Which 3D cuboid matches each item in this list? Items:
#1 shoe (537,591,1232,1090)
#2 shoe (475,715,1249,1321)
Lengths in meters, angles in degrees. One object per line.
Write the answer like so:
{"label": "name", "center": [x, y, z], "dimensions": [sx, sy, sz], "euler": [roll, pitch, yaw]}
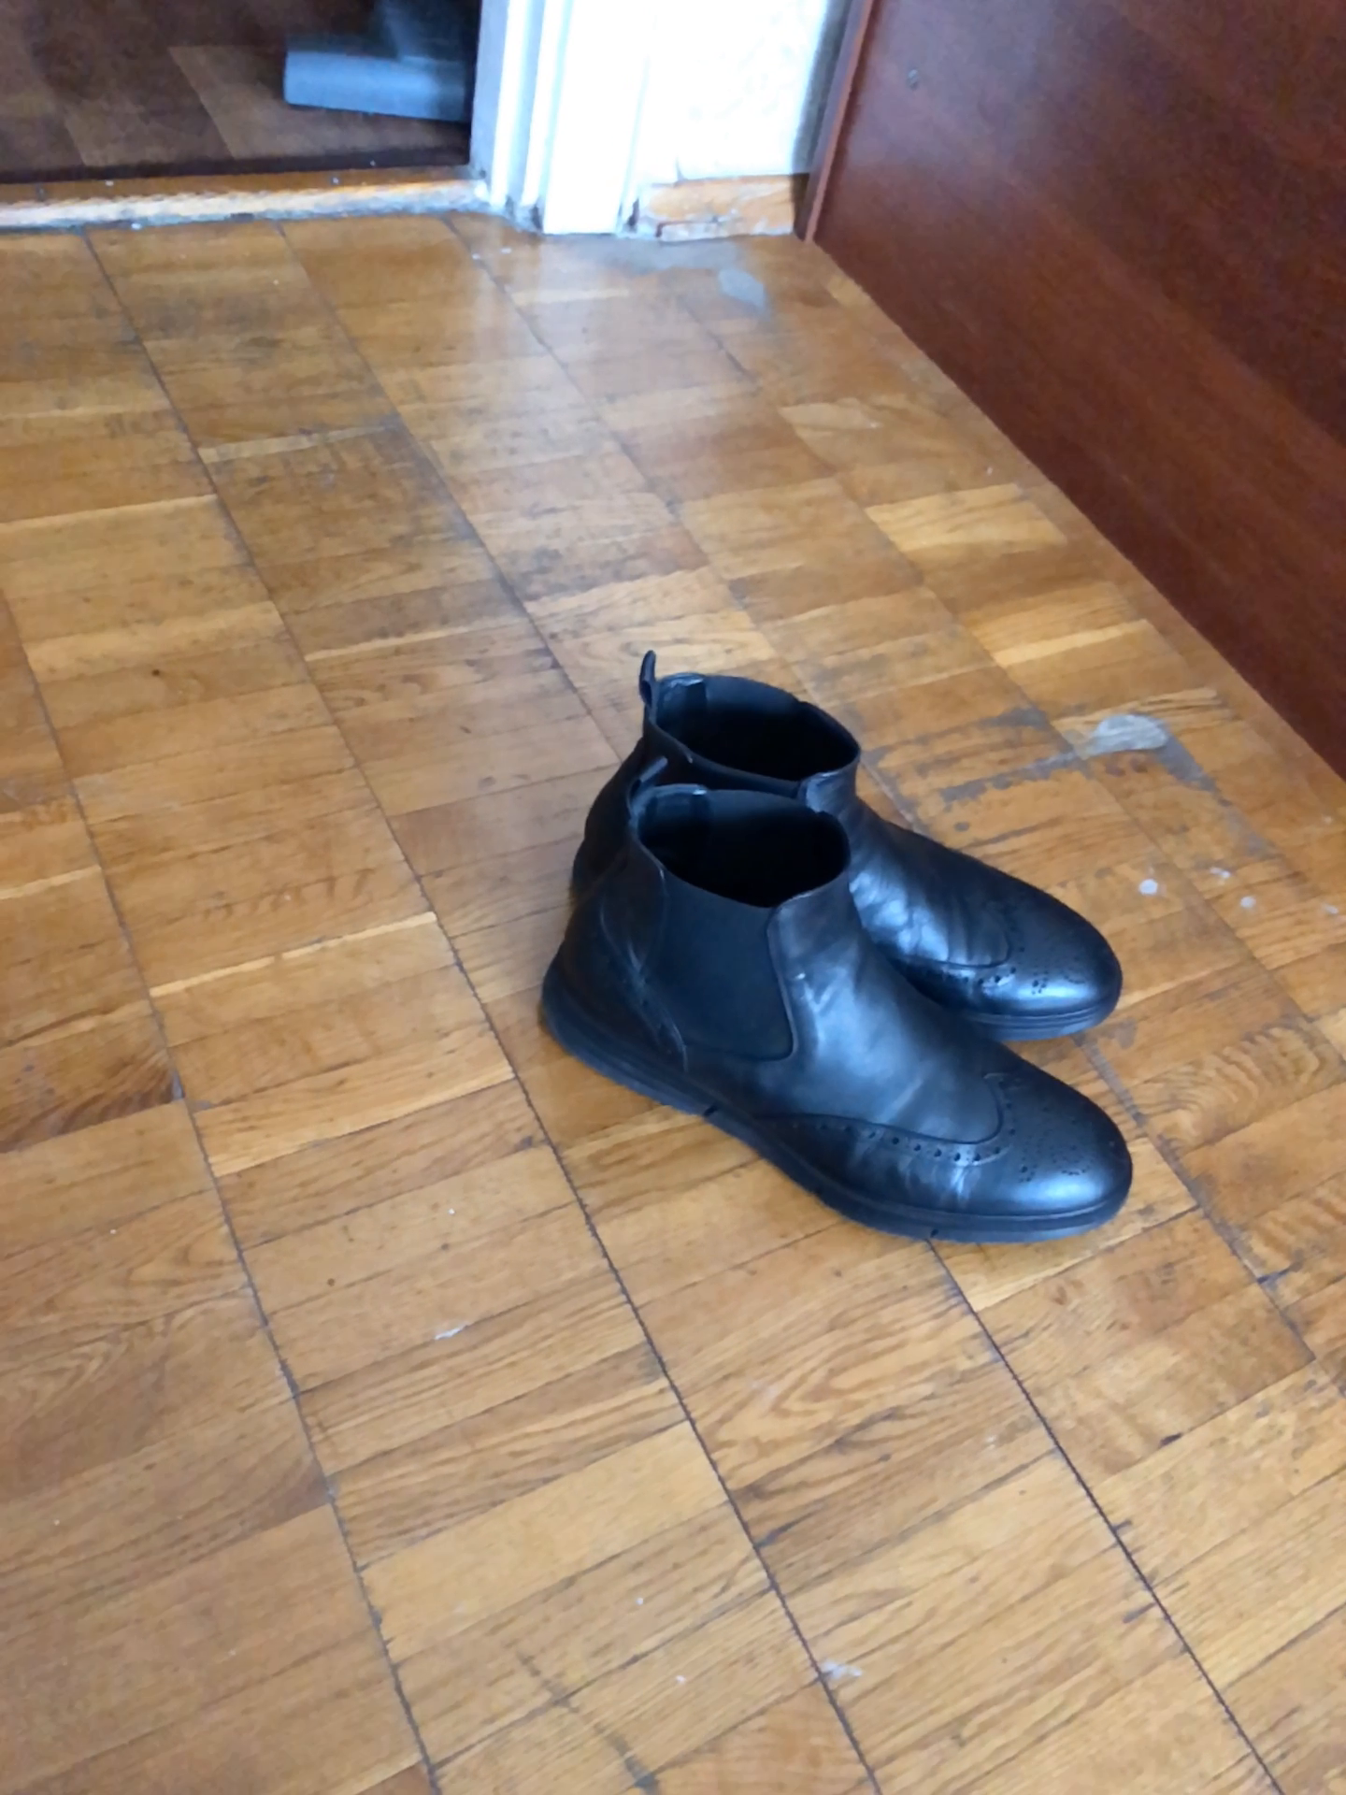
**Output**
{"label": "shoe", "center": [0.099, -0.025, 0.737], "dimensions": [0.300, 0.139, 0.111], "euler": [15, 49, -1]}
{"label": "shoe", "center": [0.077, 0.055, 0.662], "dimensions": [0.300, 0.139, 0.111], "euler": [21, 49, 4]}
